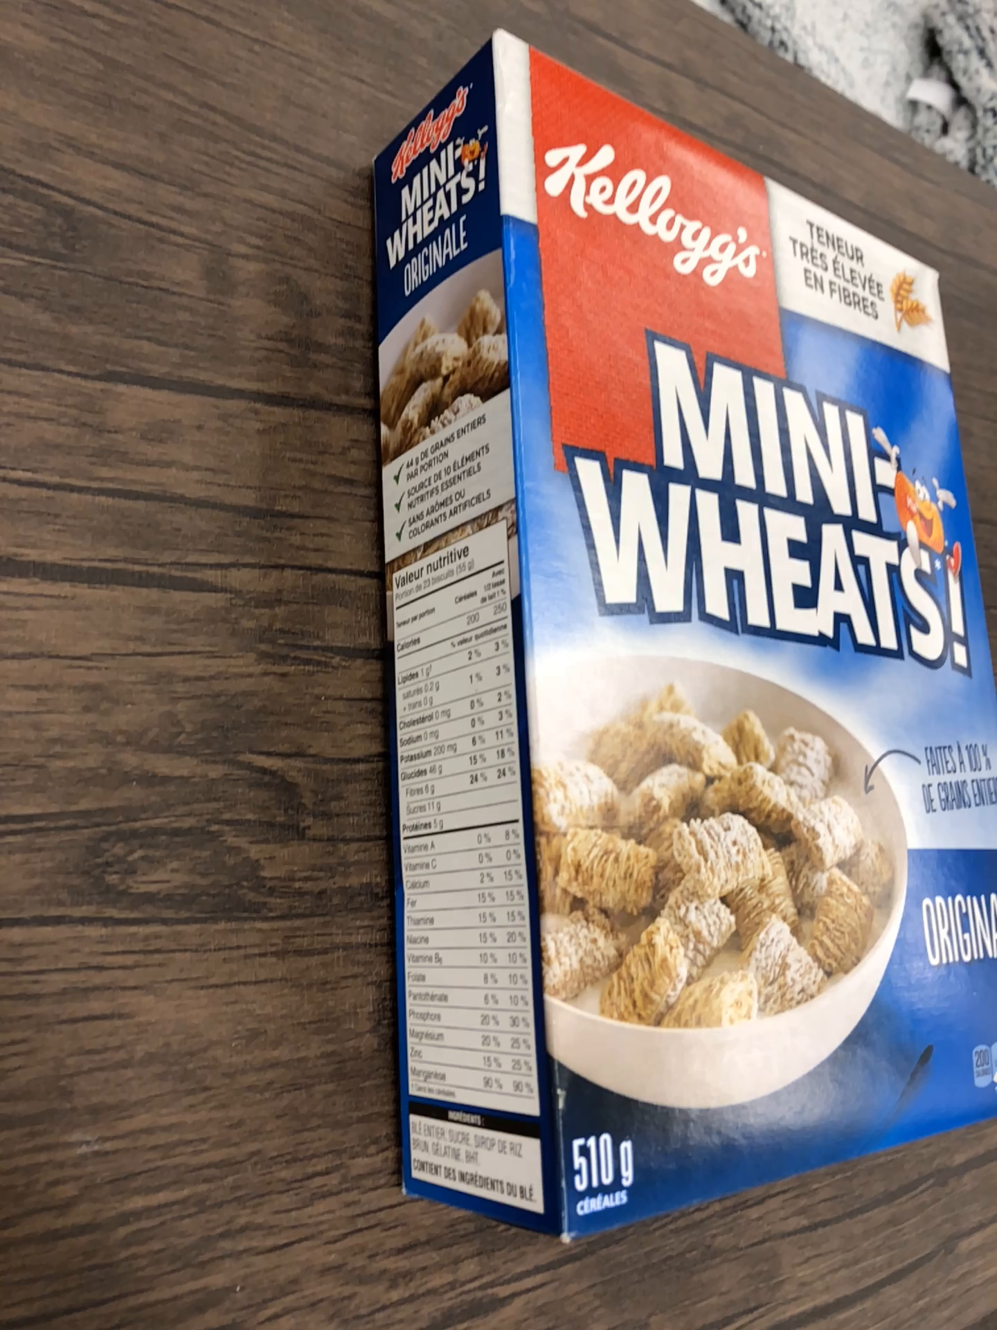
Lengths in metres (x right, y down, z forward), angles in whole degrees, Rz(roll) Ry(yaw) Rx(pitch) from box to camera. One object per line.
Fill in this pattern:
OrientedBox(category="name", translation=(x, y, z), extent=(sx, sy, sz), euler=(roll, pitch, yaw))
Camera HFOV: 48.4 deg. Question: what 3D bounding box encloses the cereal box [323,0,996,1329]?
OrientedBox(category="cereal box", translation=(0.065, 0.000, 0.296), extent=(0.211, 0.060, 0.270), euler=(6, 73, -37))
